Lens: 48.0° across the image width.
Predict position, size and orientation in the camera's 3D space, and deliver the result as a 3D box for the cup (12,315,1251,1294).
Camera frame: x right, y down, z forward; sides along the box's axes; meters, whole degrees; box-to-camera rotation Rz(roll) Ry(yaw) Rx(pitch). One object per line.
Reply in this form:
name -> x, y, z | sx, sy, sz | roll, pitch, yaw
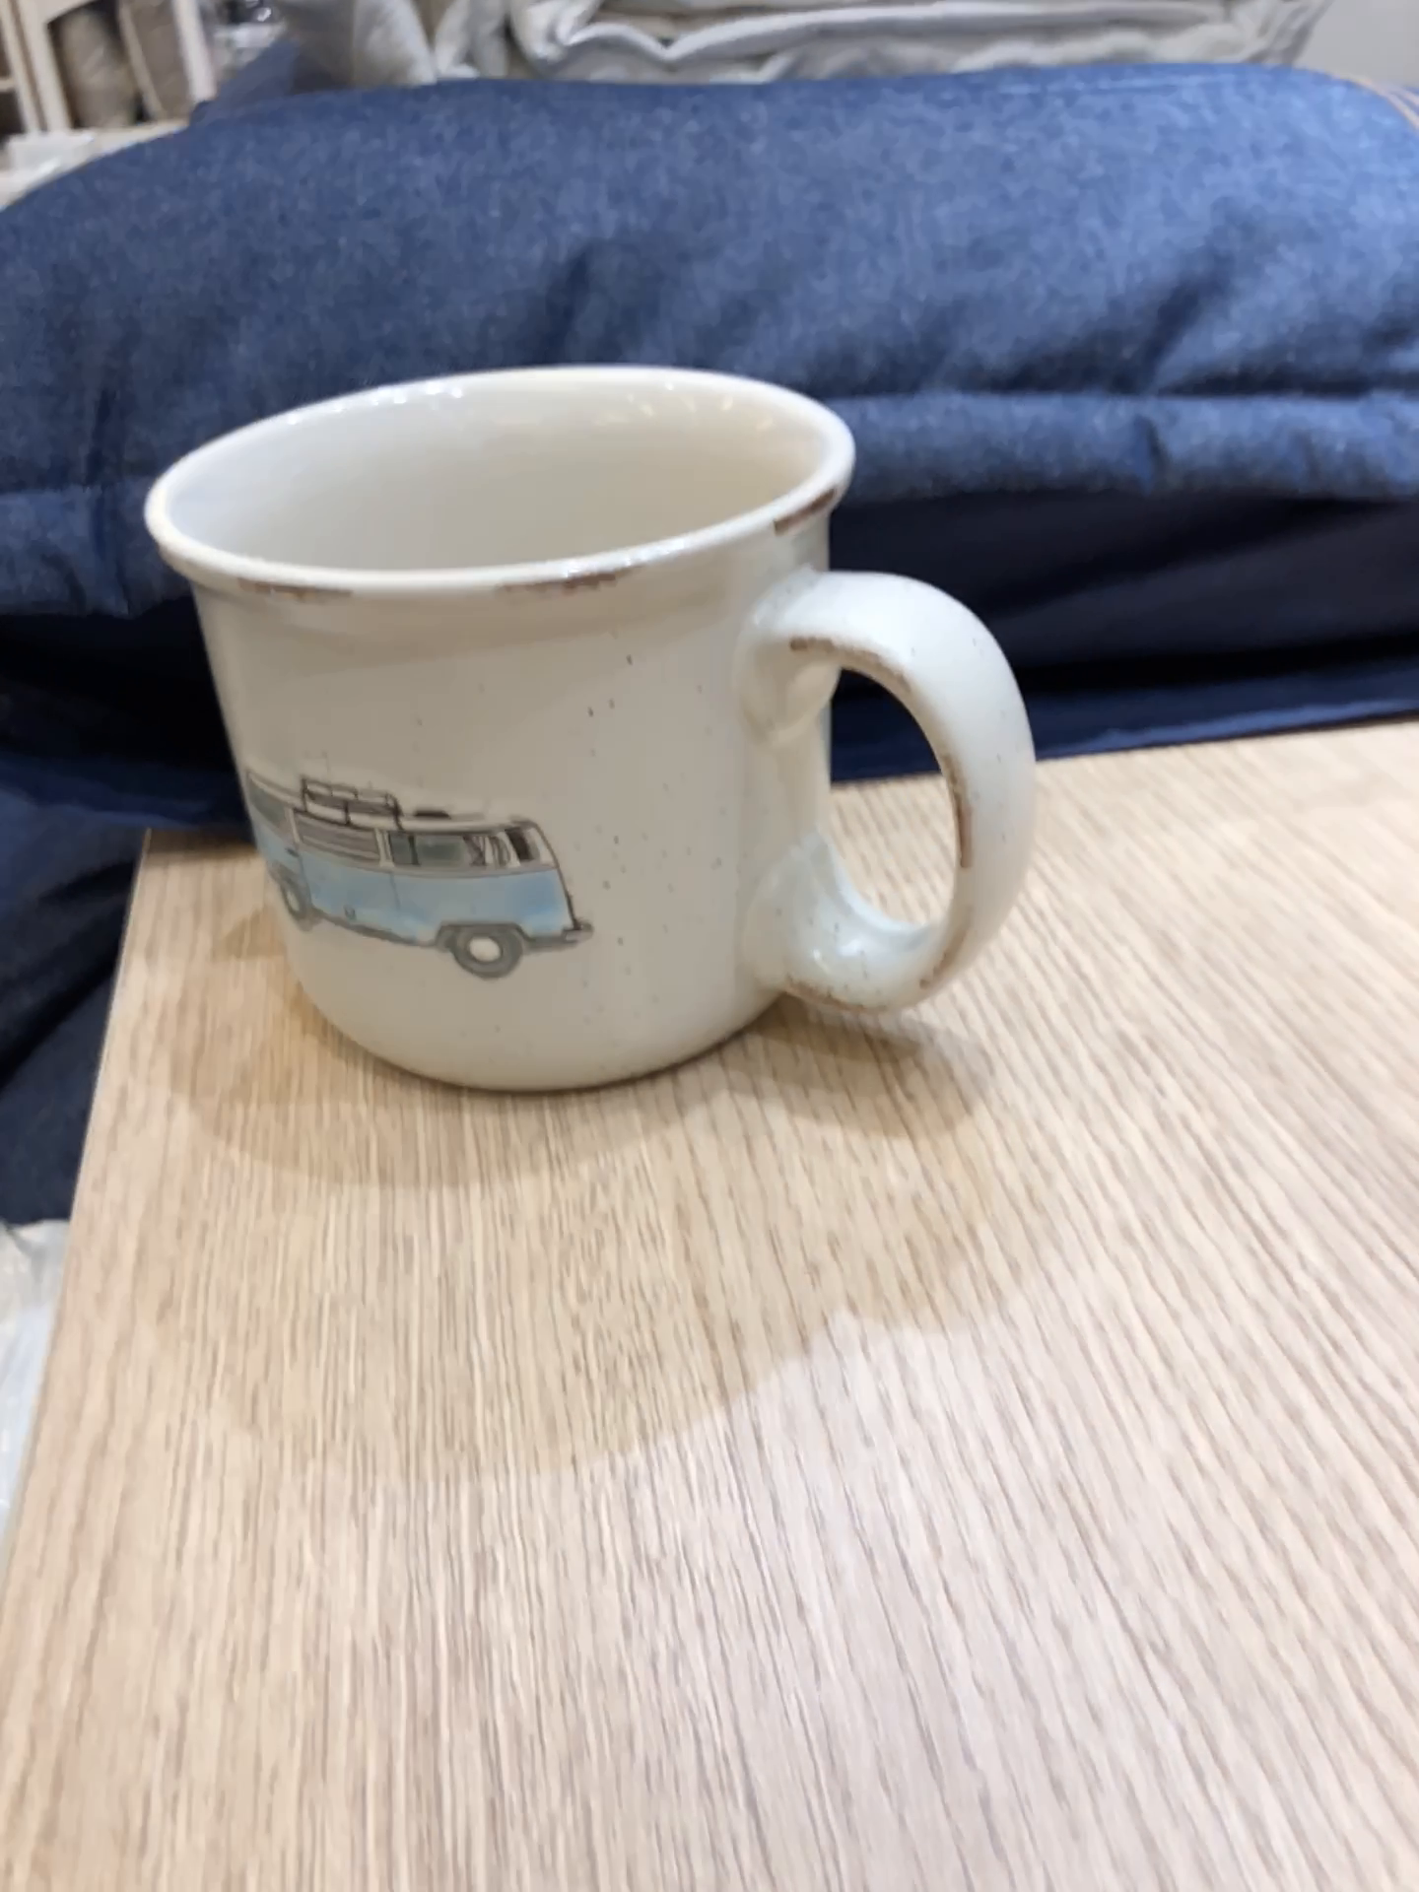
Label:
cup -> -0.007, -0.035, 0.244 | 0.140, 0.089, 0.101 | 15, 38, 27
